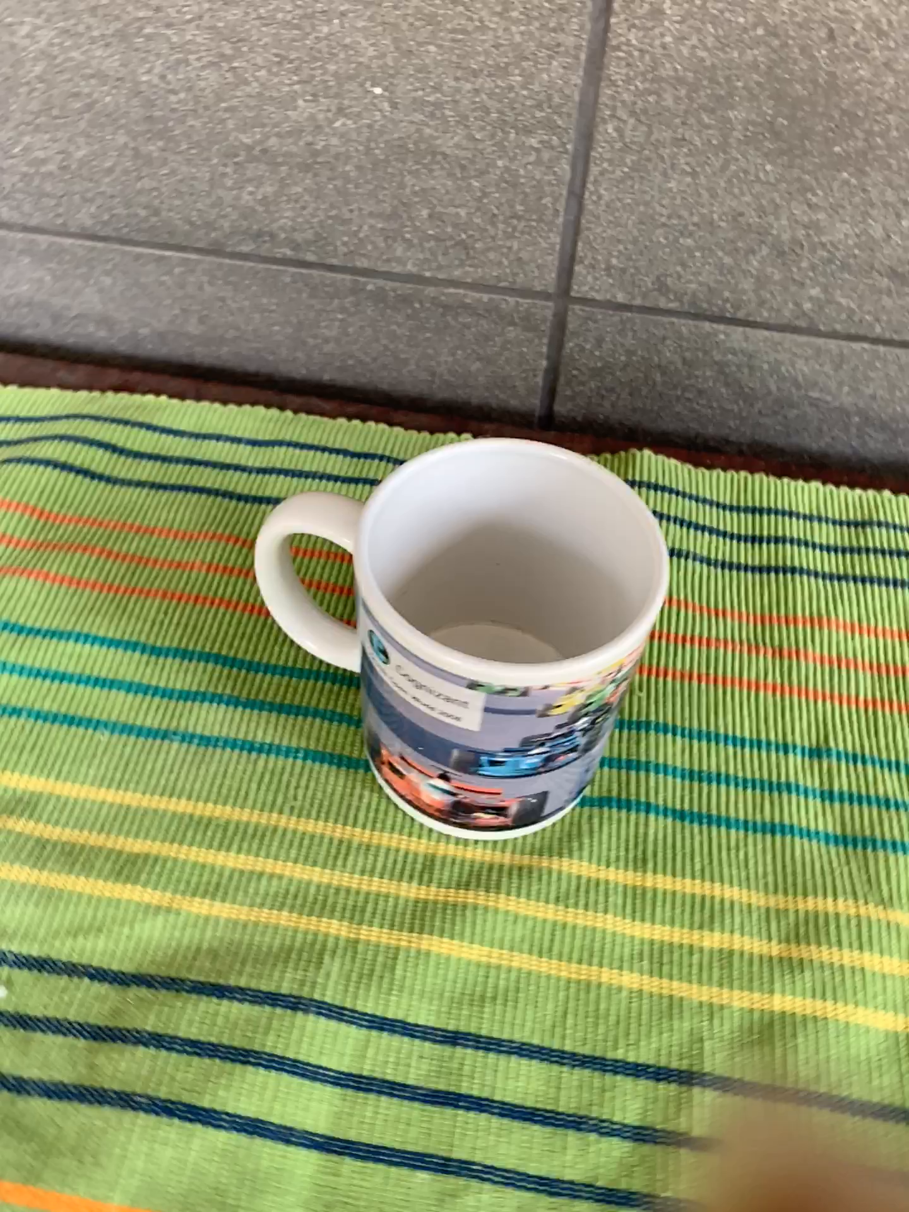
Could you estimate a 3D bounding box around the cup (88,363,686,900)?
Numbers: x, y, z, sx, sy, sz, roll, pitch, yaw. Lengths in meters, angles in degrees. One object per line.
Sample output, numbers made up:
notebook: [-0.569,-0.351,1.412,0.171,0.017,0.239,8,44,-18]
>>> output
cup: [-0.016,0.009,0.275,0.130,0.100,0.080,17,52,8]
